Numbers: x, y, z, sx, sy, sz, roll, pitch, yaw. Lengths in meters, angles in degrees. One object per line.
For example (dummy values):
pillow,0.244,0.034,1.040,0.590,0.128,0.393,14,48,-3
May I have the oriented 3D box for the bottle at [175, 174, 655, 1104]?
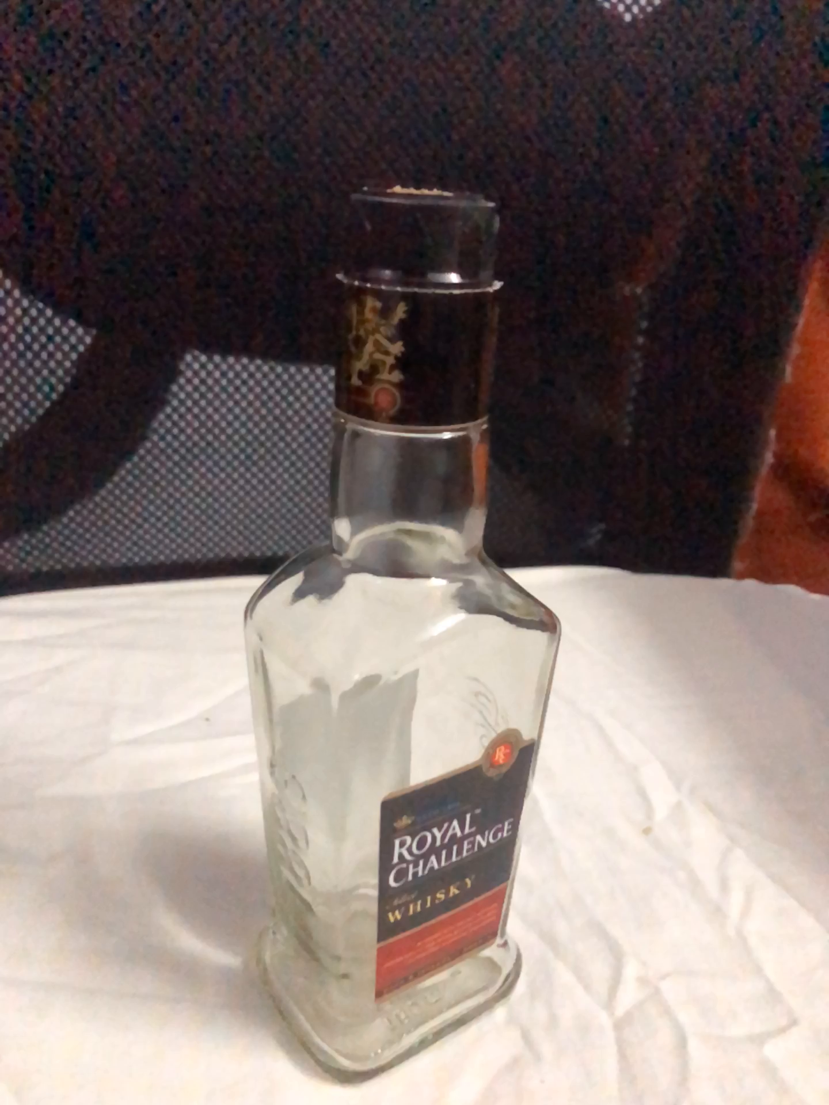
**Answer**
bottle,-0.006,0.027,0.205,0.070,0.199,0.050,-13,28,-34
